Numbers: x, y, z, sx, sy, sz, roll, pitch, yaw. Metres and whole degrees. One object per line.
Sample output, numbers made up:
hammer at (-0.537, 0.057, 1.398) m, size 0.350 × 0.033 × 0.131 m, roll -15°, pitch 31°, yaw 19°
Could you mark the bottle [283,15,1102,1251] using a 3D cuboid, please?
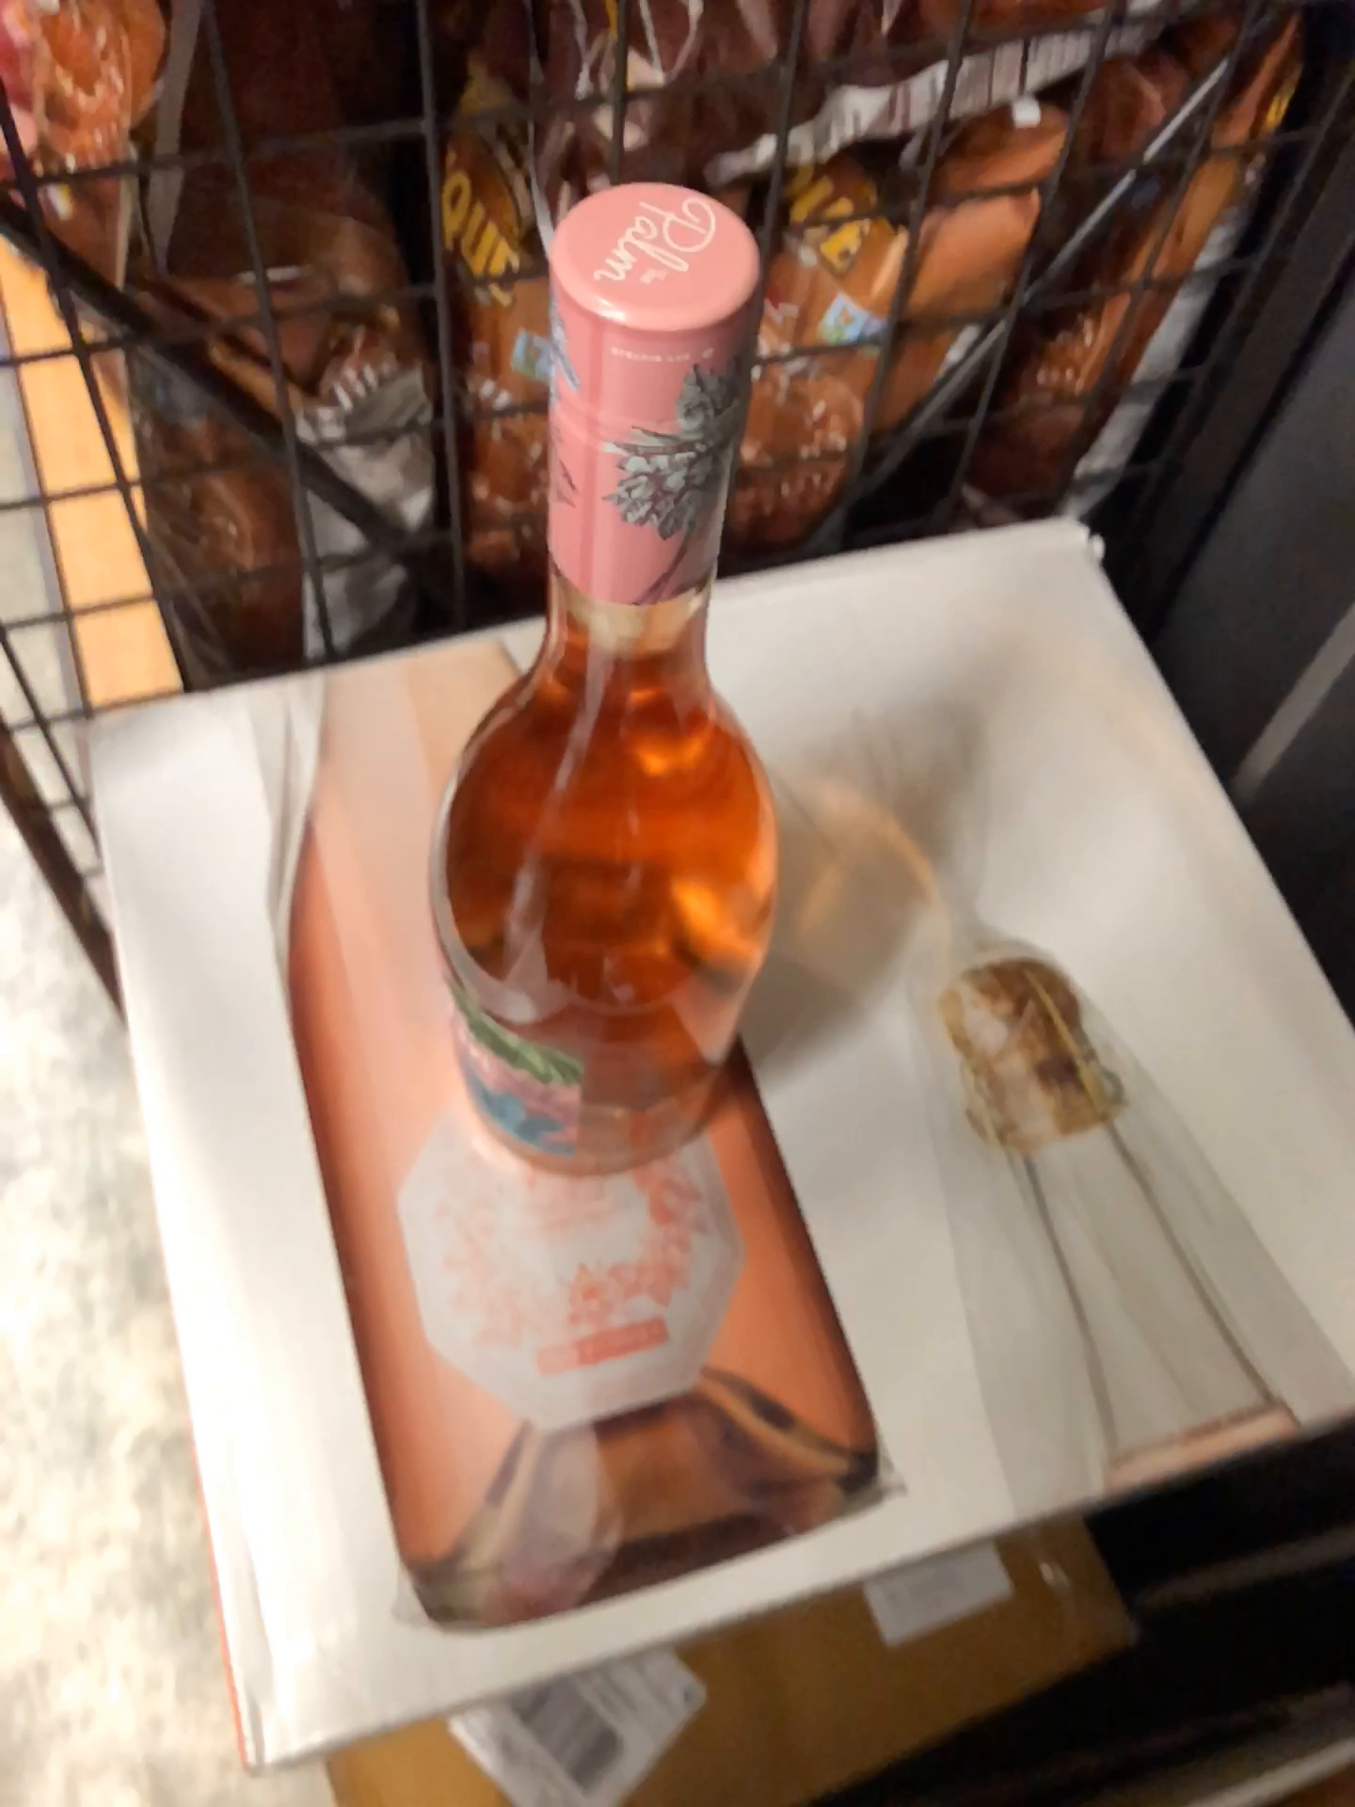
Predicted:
bottle at (-0.013, -0.020, 0.327) m, size 0.090 × 0.286 × 0.087 m, roll 2°, pitch 60°, yaw -4°
